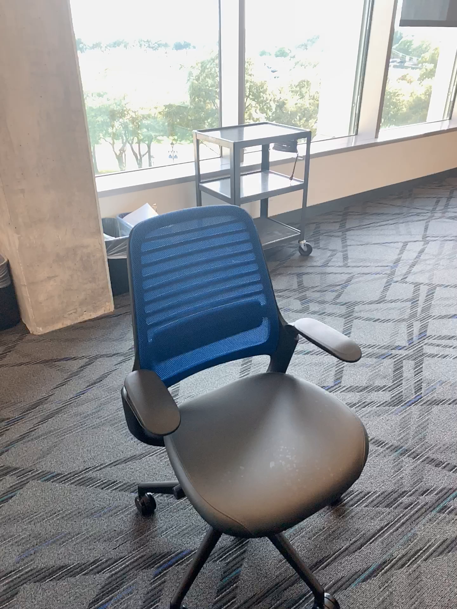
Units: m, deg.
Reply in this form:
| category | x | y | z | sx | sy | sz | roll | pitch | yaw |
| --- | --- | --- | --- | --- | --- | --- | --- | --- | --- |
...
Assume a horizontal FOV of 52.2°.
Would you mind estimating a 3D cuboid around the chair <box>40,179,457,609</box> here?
| category | x | y | z | sx | sy | sz | roll | pitch | yaw |
| --- | --- | --- | --- | --- | --- | --- | --- | --- | --- |
| chair | 0.074 | 0.253 | 1.173 | 0.702 | 0.883 | 0.684 | -20 | 35 | -31 |
